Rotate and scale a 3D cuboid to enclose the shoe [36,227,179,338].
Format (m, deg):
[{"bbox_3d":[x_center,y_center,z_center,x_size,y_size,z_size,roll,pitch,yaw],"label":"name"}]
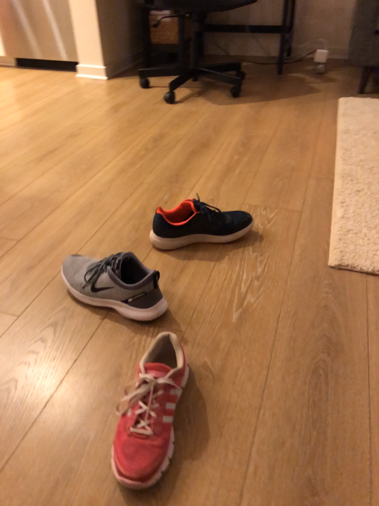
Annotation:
[{"bbox_3d":[-0.193,0.058,0.985,0.320,0.099,0.131,22,41,28],"label":"shoe"}]

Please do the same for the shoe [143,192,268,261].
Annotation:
[{"bbox_3d":[0.042,-0.078,1.173,0.320,0.099,0.131,-9,36,-11],"label":"shoe"}]

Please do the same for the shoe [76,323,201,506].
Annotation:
[{"bbox_3d":[-0.069,0.265,0.727,0.120,0.099,0.282,8,37,12],"label":"shoe"}]
